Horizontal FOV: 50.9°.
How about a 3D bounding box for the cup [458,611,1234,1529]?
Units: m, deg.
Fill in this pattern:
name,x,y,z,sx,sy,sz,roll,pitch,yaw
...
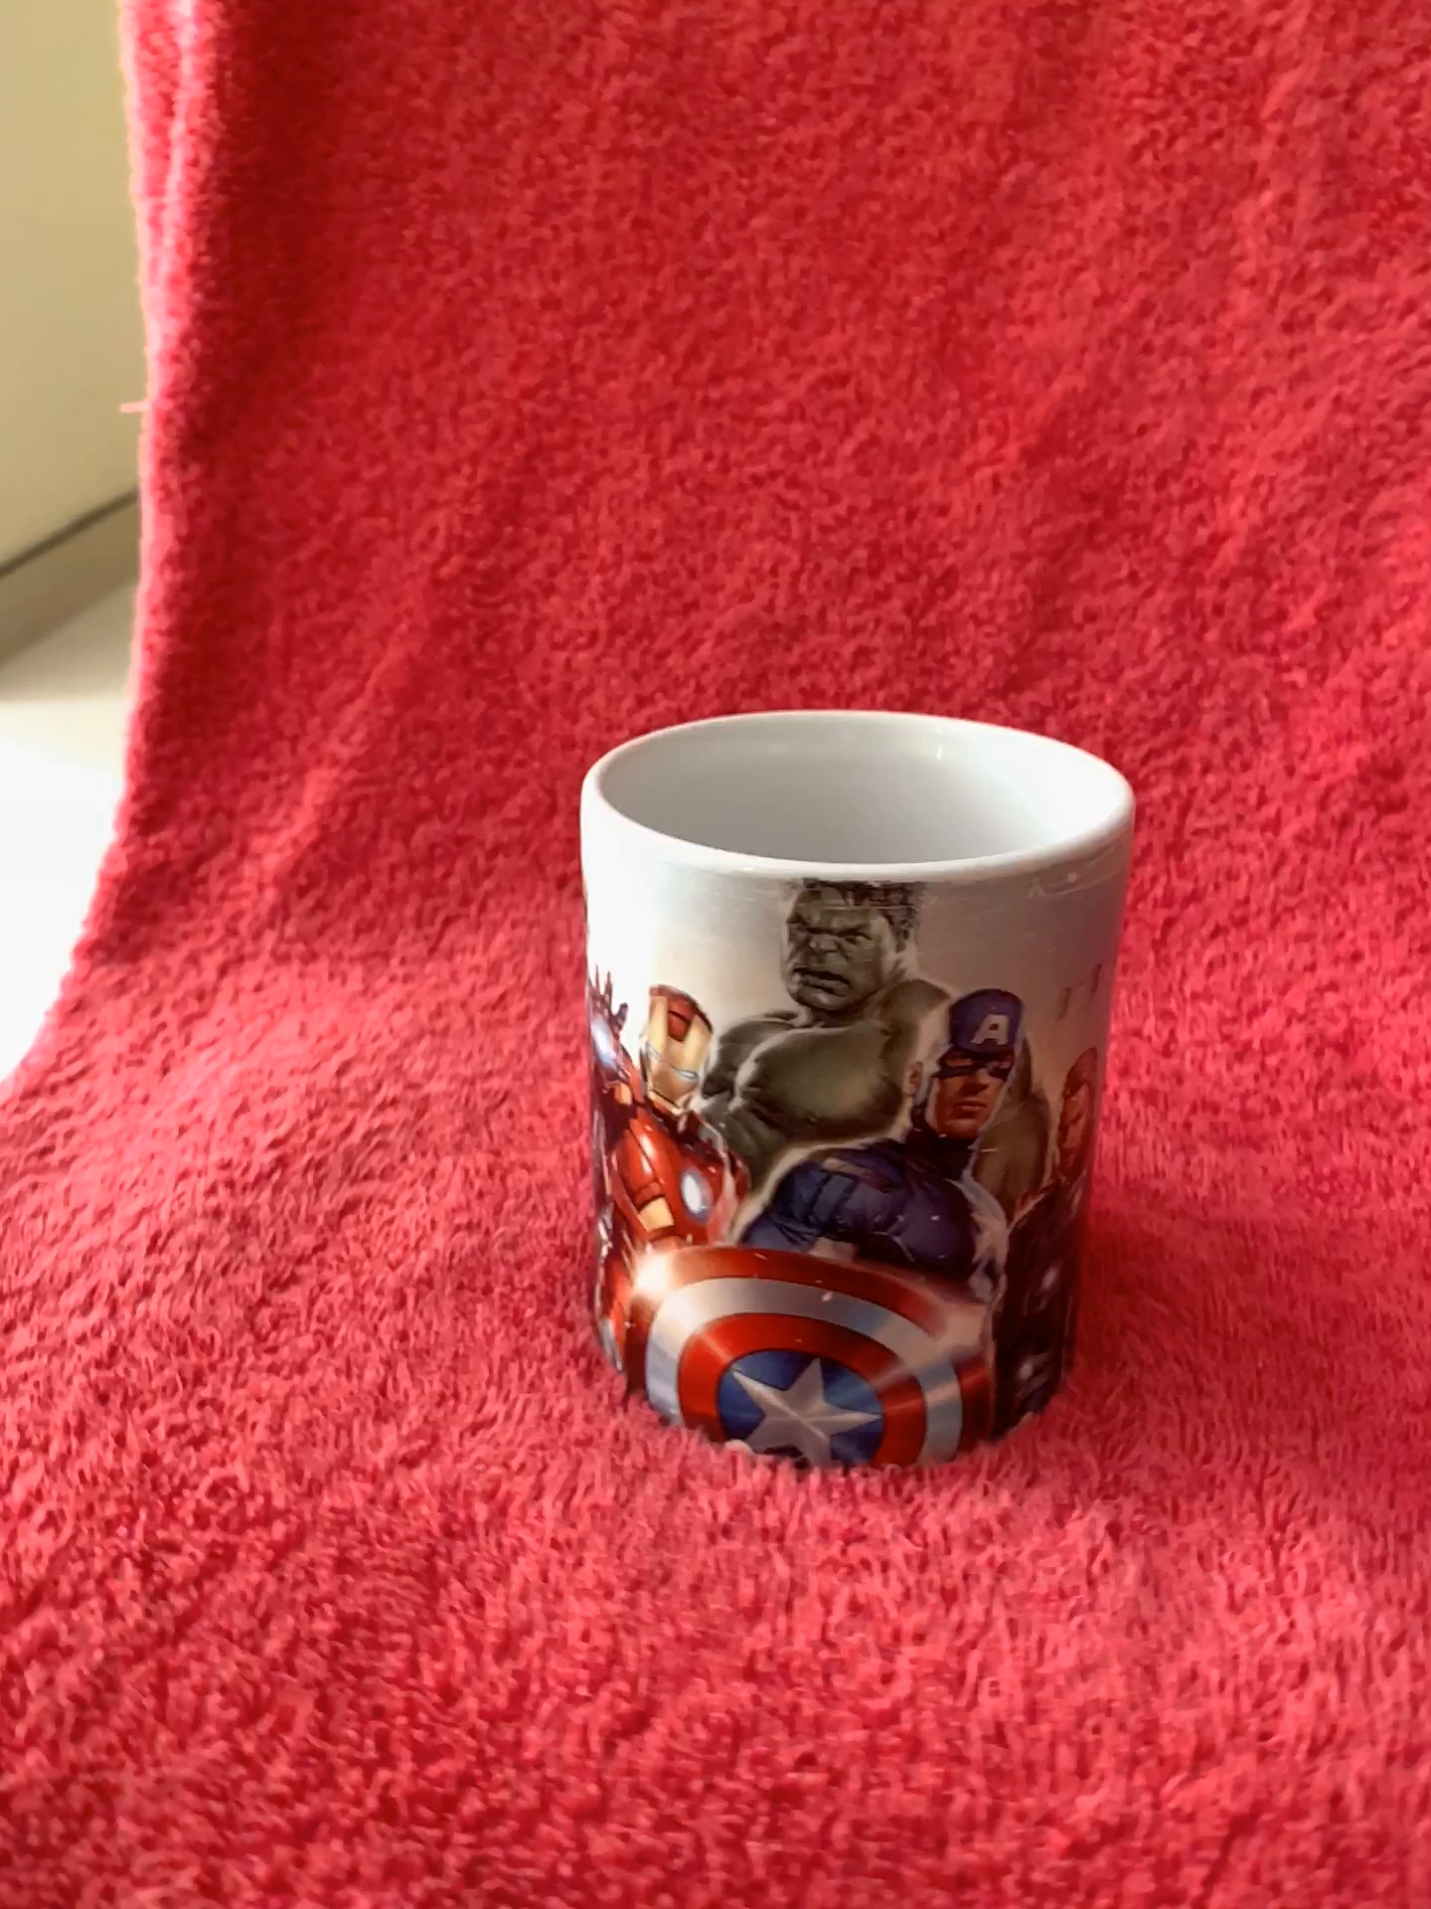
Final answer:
name,x,y,z,sx,sy,sz,roll,pitch,yaw
cup,0.021,0.006,0.246,0.090,0.089,0.121,9,26,8
